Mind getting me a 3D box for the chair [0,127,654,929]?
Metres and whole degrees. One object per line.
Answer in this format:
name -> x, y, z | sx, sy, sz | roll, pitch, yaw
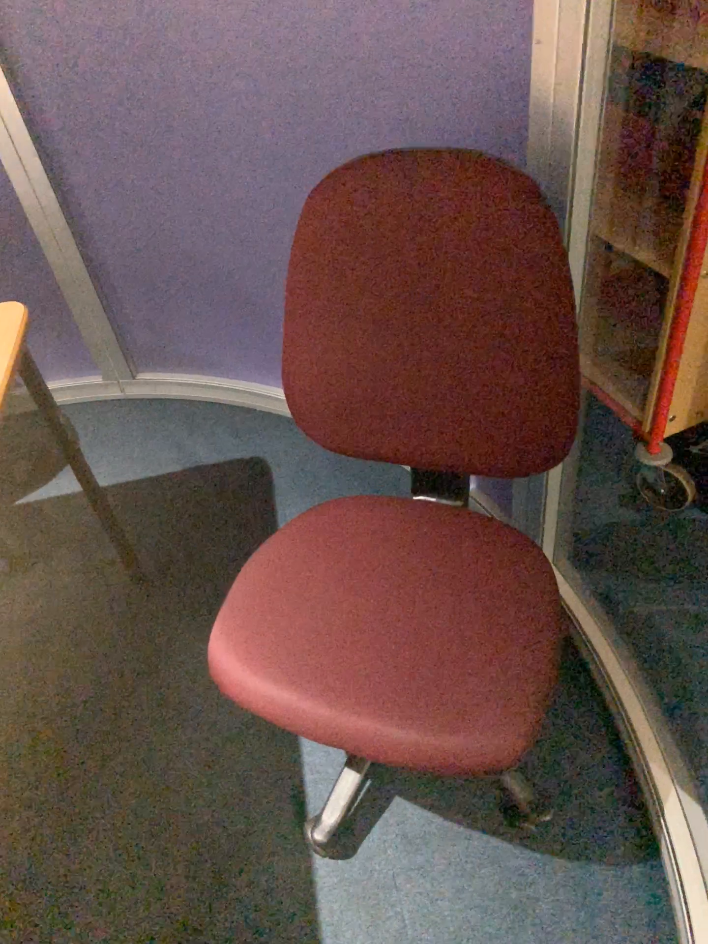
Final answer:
chair -> 0.081, 0.032, 1.117 | 0.581, 0.772, 0.857 | 8, 46, 18
